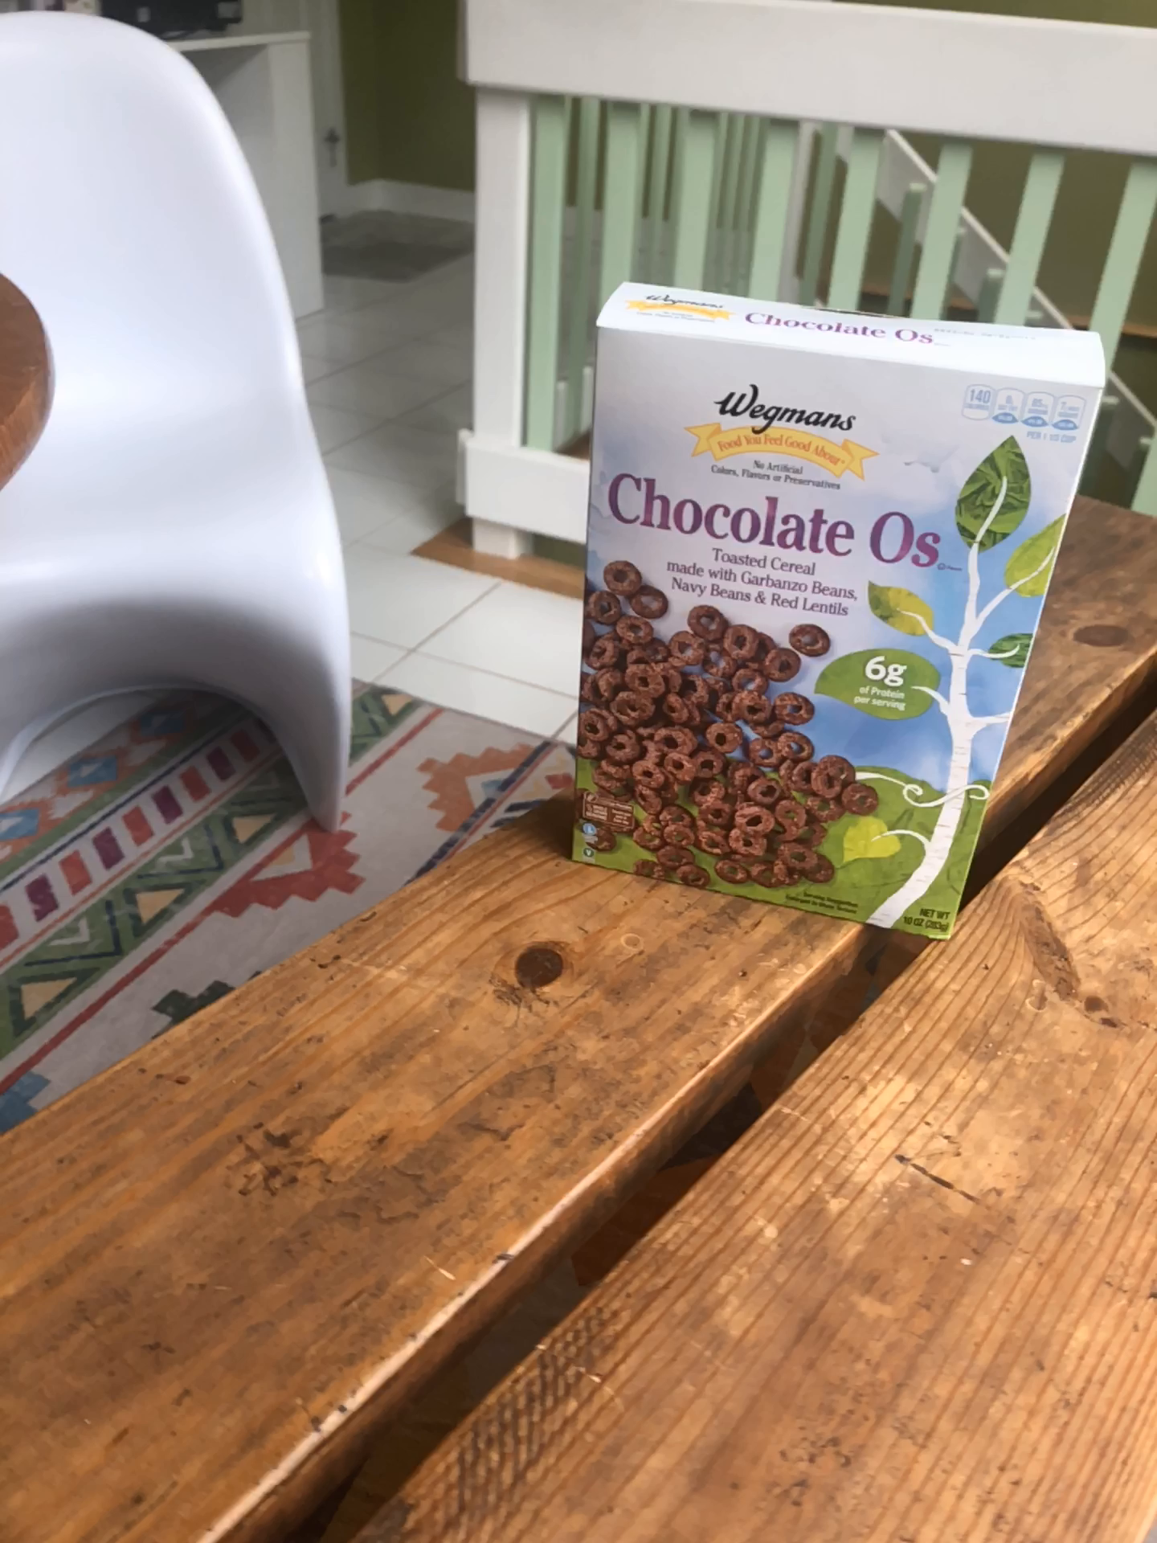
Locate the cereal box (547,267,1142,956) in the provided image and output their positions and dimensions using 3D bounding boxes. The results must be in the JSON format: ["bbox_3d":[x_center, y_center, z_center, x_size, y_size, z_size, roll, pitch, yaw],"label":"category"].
[{"bbox_3d":[0.099,-0.062,0.571,0.210,0.278,0.060,11,36,11],"label":"cereal box"}]
